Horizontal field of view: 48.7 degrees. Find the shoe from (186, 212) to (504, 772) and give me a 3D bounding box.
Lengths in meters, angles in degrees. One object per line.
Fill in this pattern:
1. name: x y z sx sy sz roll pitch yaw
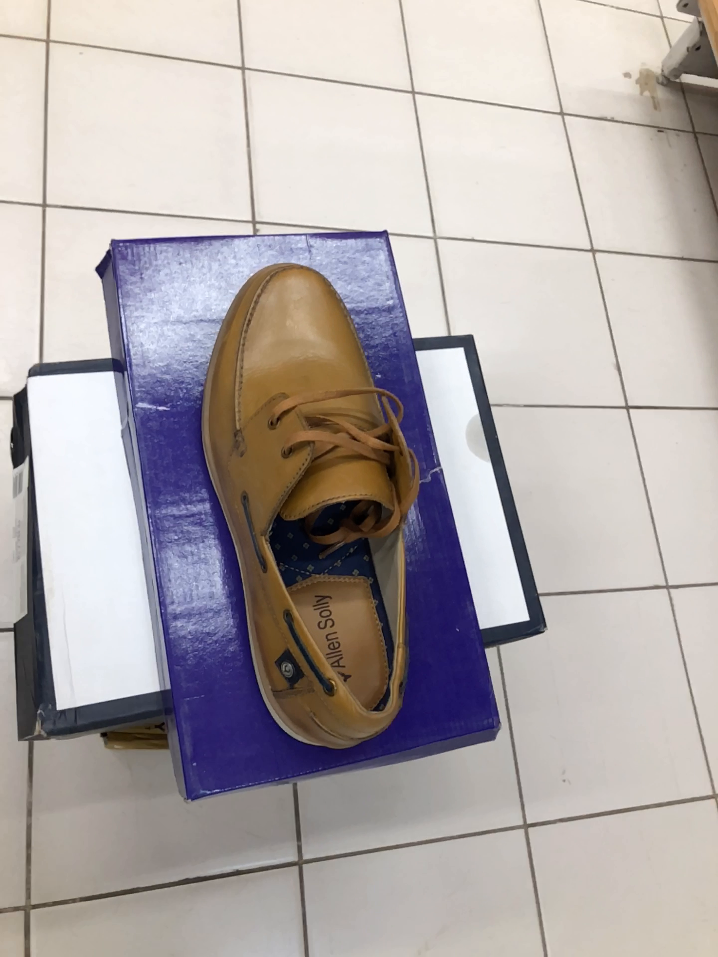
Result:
1. shoe: -0.021 0.006 0.417 0.100 0.109 0.260 -5 73 -19
